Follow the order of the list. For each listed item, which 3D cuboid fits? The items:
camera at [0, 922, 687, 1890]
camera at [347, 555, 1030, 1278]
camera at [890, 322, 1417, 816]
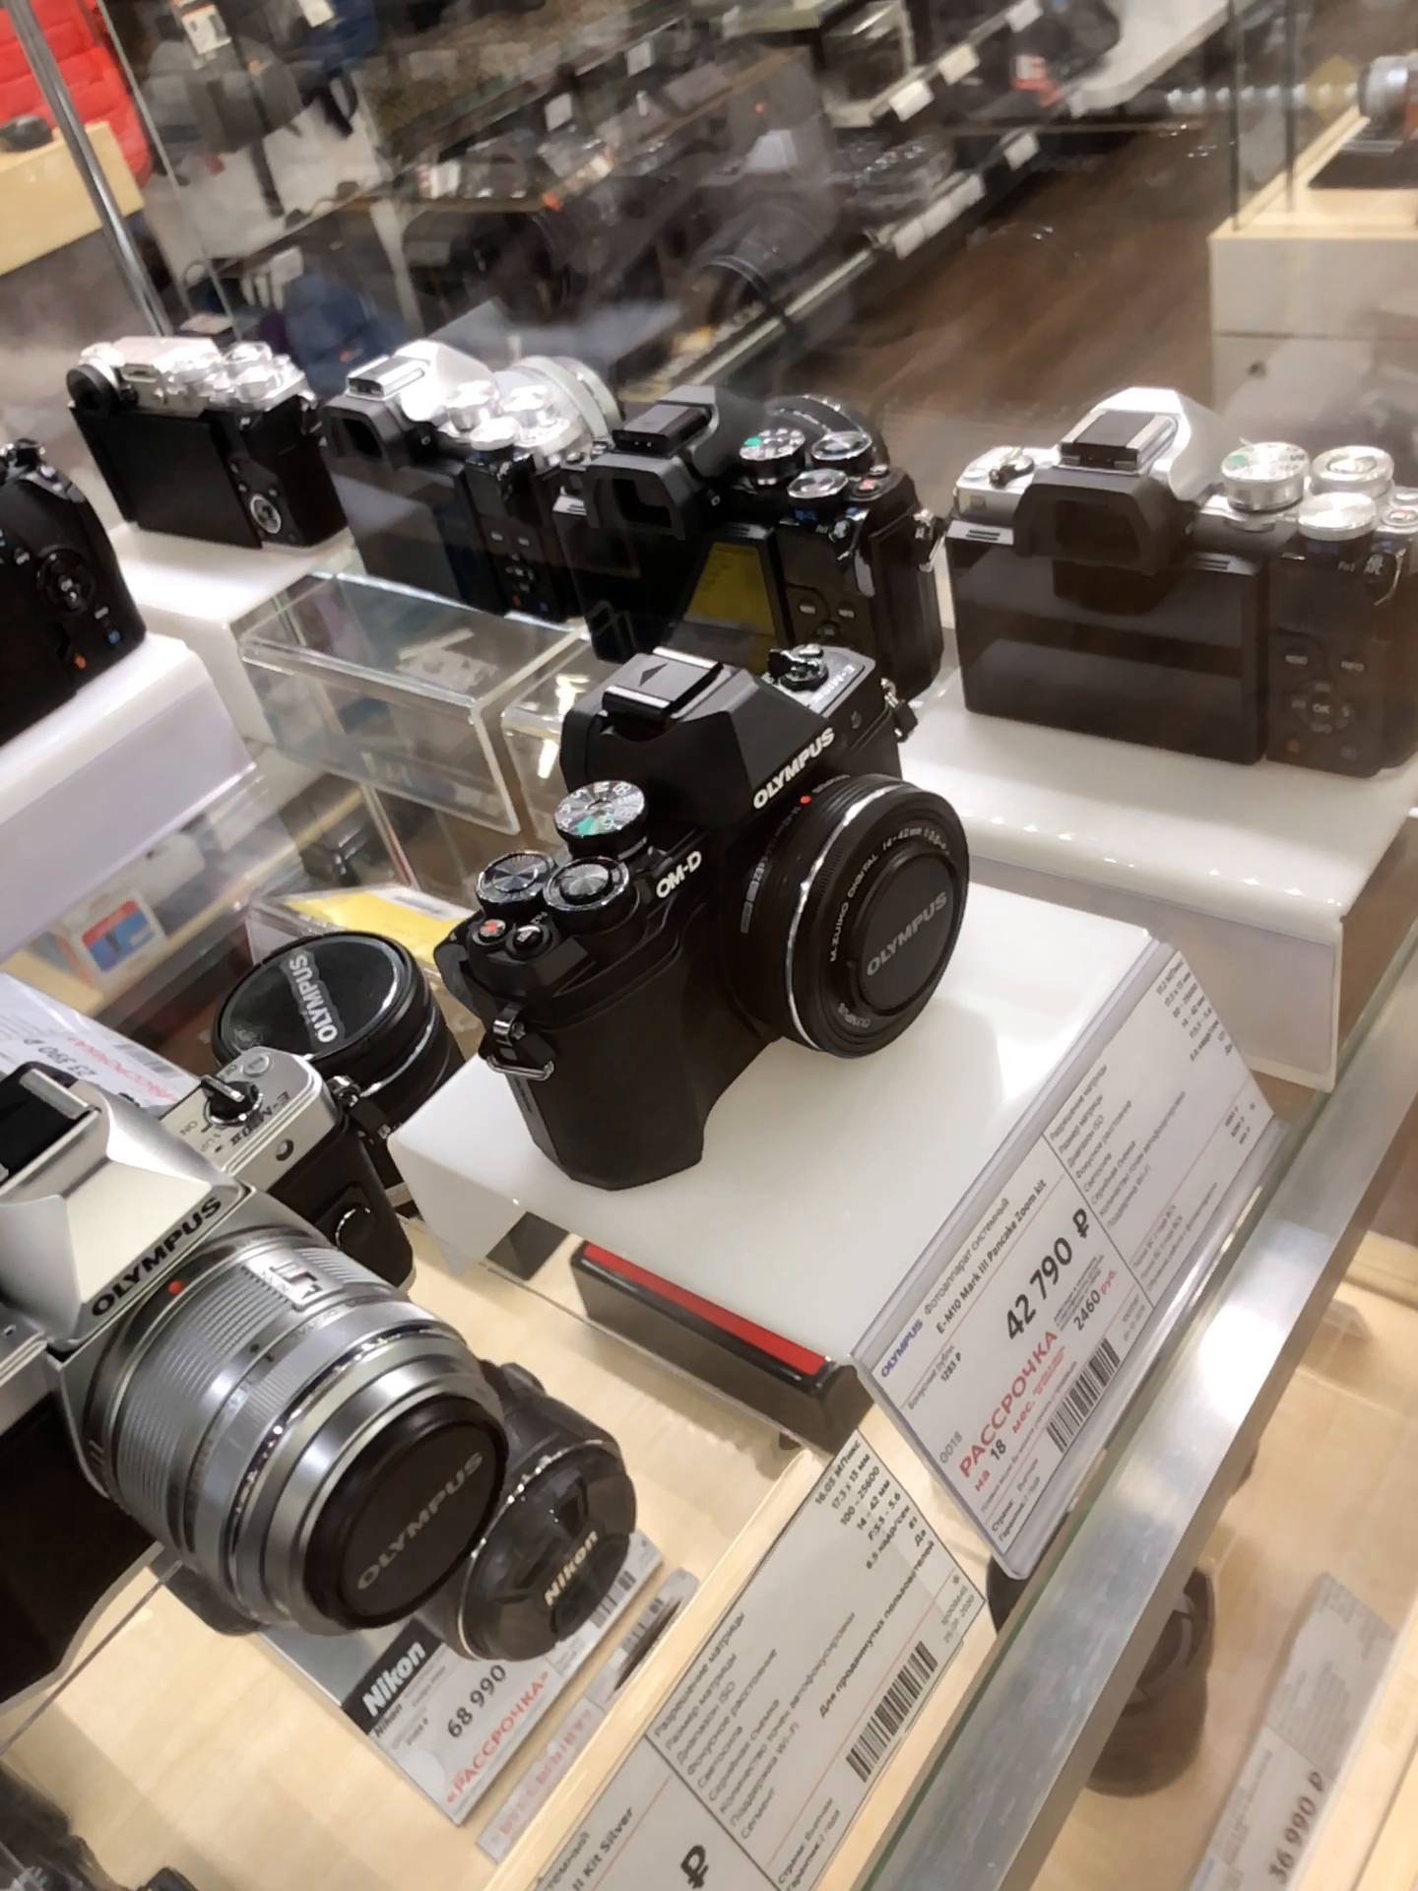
[{"bbox_3d":[-0.083,0.073,0.264,0.094,0.080,0.112,21,52,37],"label":"camera"},{"bbox_3d":[0.004,-0.012,0.341,0.064,0.082,0.130,21,52,37],"label":"camera"},{"bbox_3d":[0.129,-0.102,0.403,0.124,0.074,0.094,17,50,34],"label":"camera"}]
